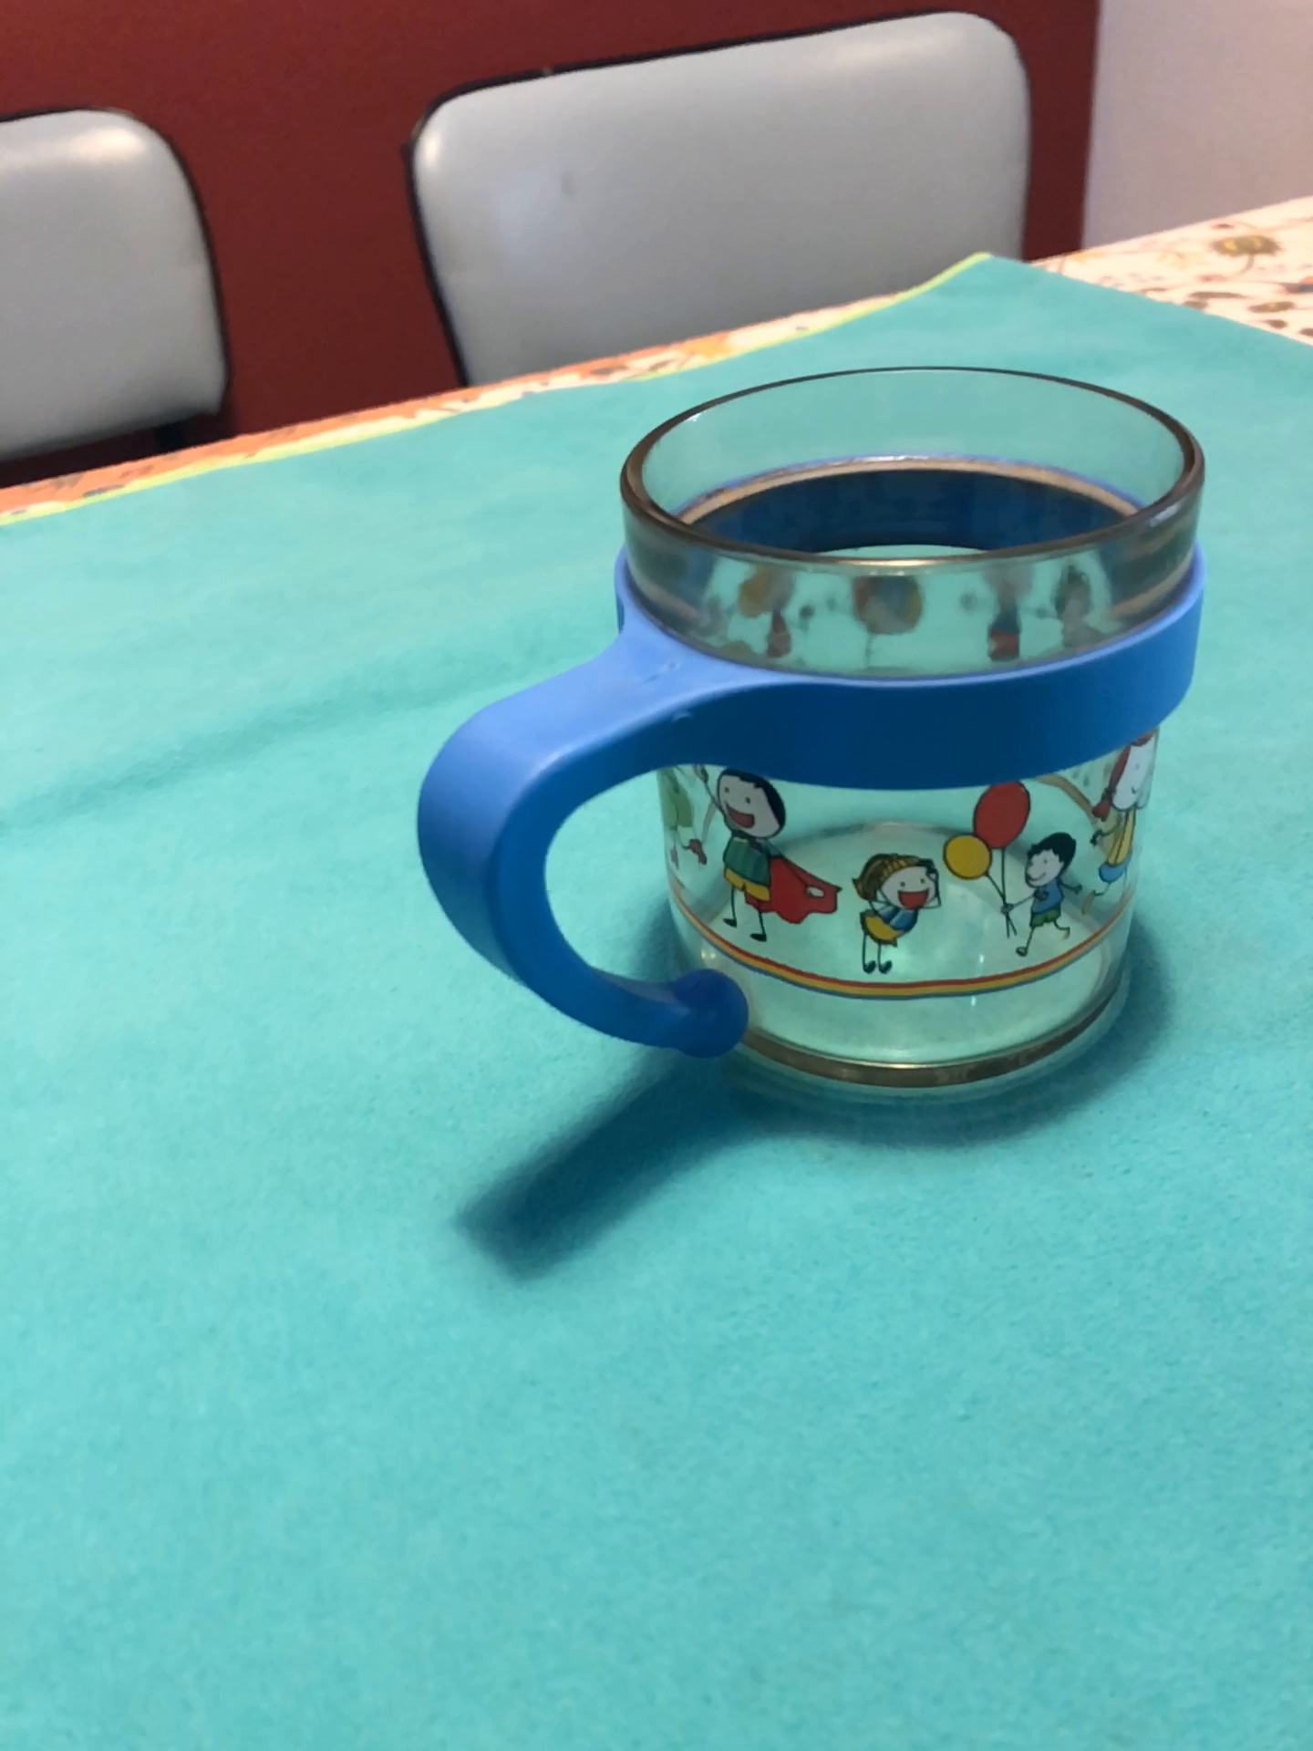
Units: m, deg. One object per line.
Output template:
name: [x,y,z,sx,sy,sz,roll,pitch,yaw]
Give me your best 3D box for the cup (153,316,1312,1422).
cup: [0.018,-0.015,0.217,0.130,0.089,0.090,-30,41,-31]
